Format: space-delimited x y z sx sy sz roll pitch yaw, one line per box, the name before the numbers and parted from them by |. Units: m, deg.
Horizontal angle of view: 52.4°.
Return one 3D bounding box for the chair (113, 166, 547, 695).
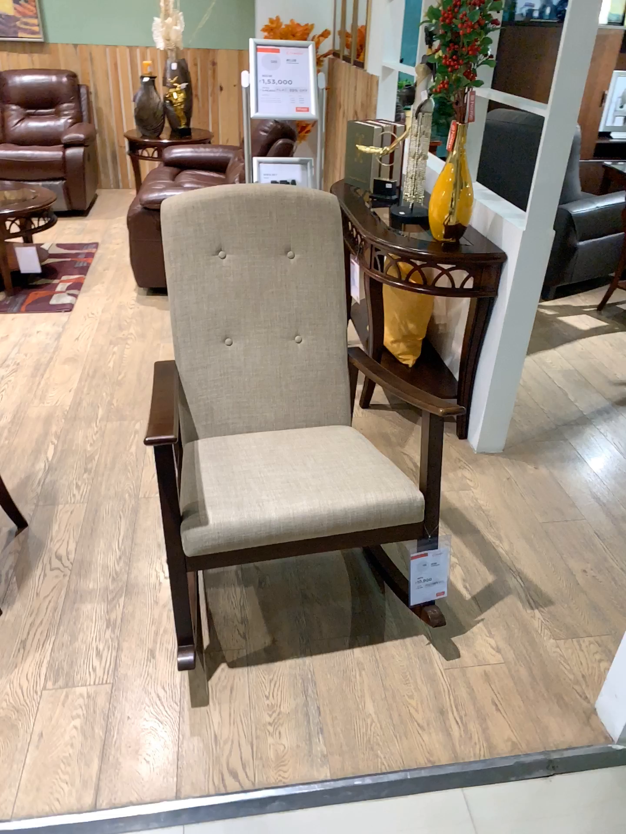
chair | -0.067 -0.039 1.627 0.730 0.976 0.843 -6 33 -14
